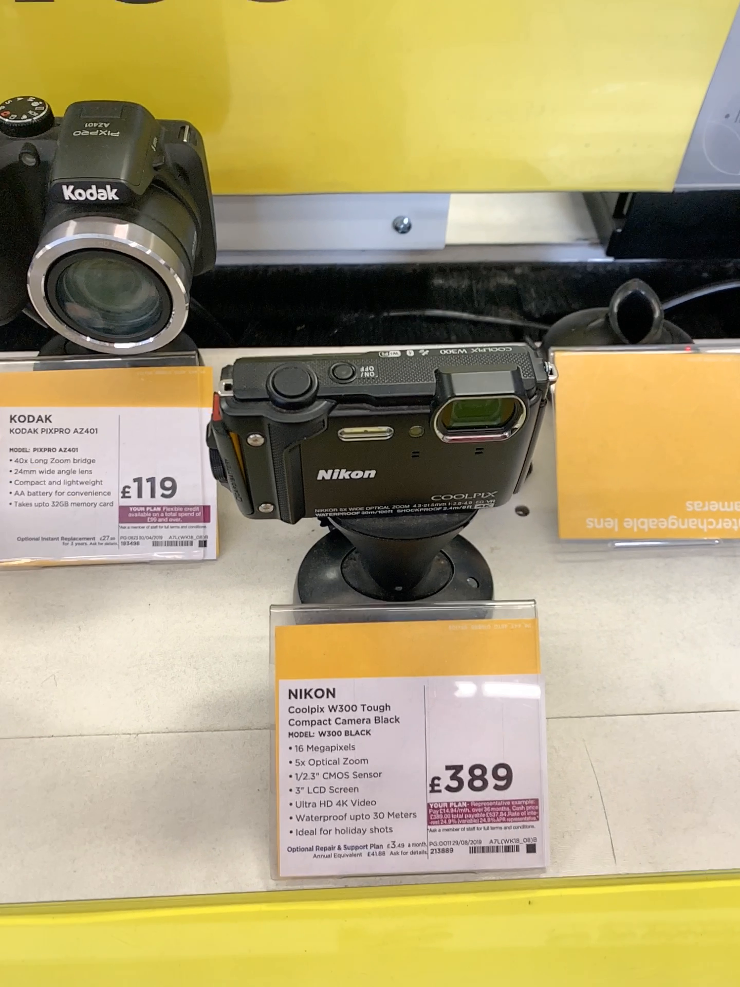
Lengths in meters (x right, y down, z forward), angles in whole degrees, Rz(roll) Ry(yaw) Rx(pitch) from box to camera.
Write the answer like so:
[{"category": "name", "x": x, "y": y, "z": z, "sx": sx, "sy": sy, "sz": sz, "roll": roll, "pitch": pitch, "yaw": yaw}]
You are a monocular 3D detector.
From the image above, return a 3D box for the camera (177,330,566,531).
[{"category": "camera", "x": 0.000, "y": -0.020, "z": 0.273, "sx": 0.120, "sy": 0.069, "sz": 0.030, "roll": -2, "pitch": 54, "yaw": -3}]
